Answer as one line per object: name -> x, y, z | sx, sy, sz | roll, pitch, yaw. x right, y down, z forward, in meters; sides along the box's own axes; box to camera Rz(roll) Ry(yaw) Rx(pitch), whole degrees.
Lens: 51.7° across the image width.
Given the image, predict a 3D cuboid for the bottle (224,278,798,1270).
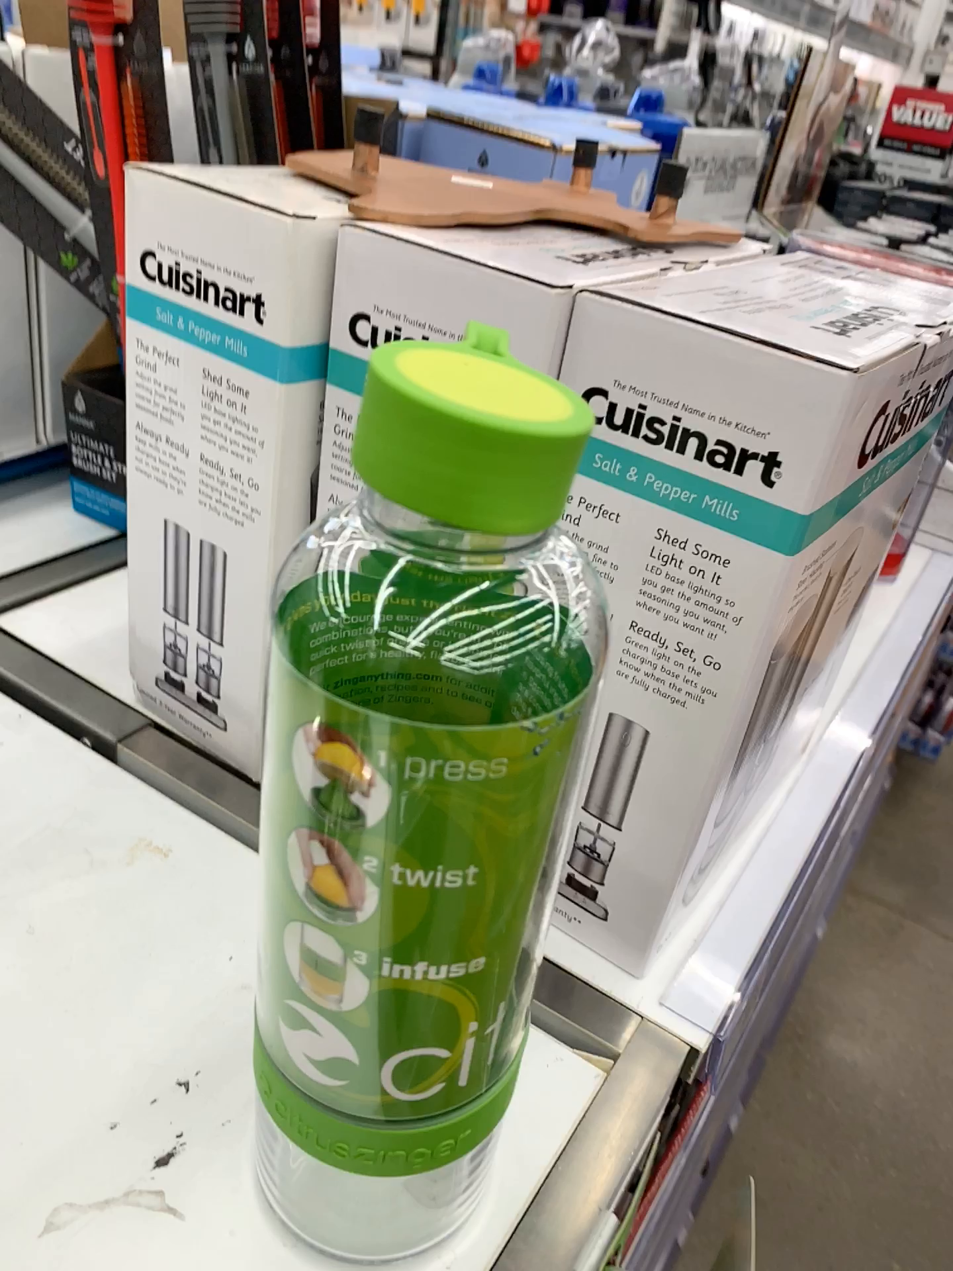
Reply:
bottle -> -0.014, 0.052, 0.246 | 0.078, 0.250, 0.081 | 7, 30, -4
